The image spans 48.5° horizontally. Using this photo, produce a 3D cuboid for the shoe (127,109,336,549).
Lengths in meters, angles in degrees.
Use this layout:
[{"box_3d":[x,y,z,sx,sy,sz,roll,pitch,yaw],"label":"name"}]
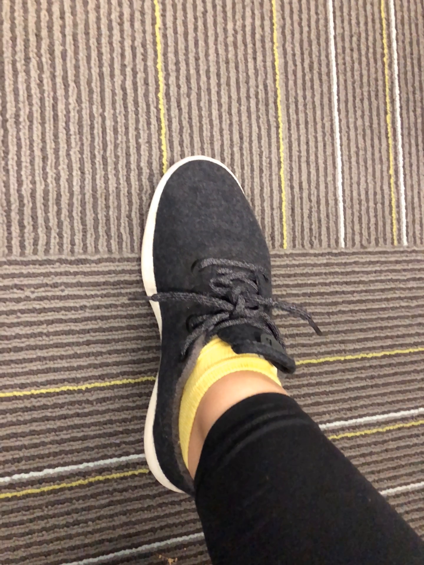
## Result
[{"box_3d":[0.011,0.029,0.336,0.120,0.080,0.260,3,88,-19],"label":"shoe"}]
